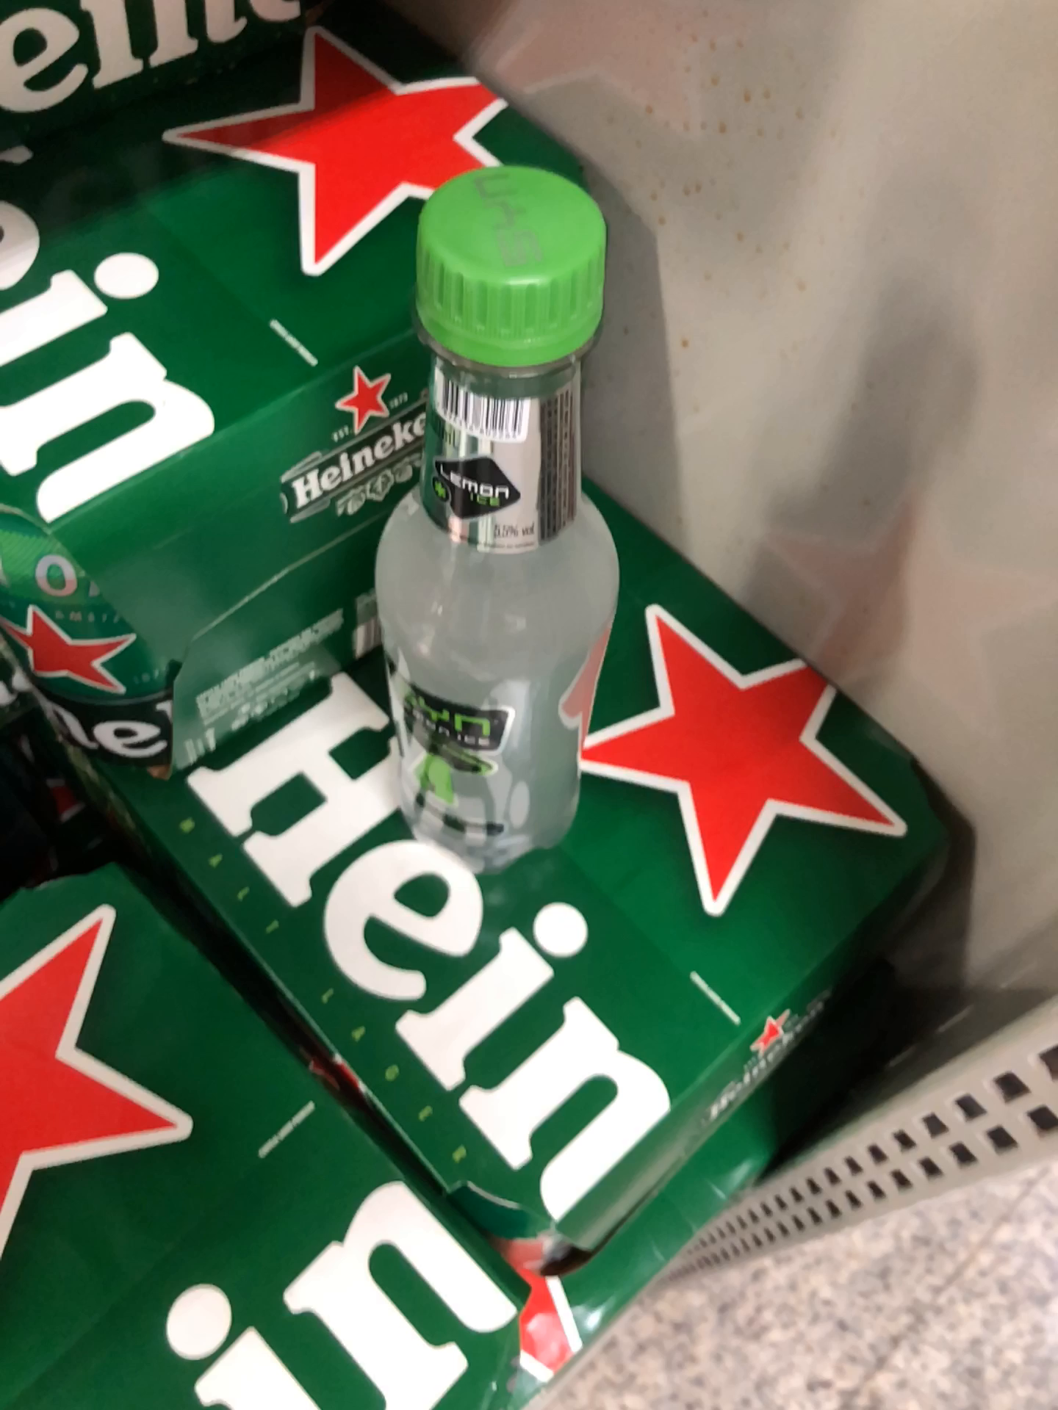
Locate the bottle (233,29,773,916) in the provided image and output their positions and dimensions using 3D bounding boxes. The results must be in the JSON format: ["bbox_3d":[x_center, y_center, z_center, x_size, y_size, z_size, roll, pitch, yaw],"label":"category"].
[{"bbox_3d":[-0.008,-0.027,0.272,0.060,0.209,0.060,2,60,-3],"label":"bottle"}]
